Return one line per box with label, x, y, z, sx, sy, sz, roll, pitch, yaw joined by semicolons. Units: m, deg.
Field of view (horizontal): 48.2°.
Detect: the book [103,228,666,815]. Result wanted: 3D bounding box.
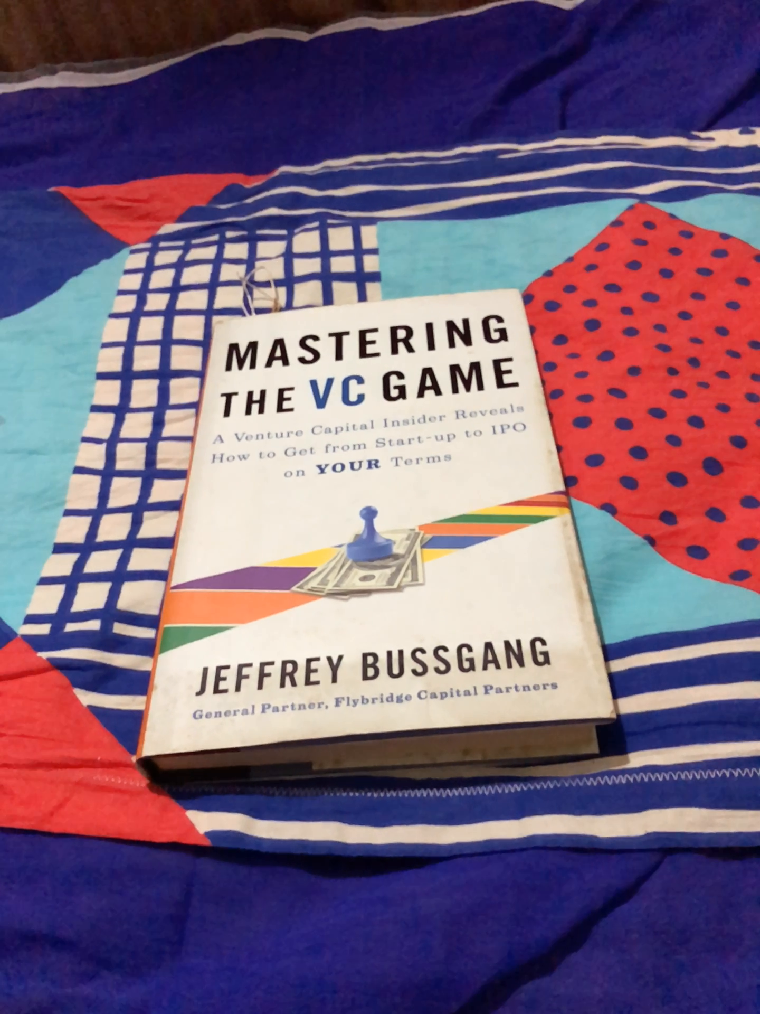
book;-0.001;-0.016;0.381;0.180;0.050;0.281;-5;49;4
